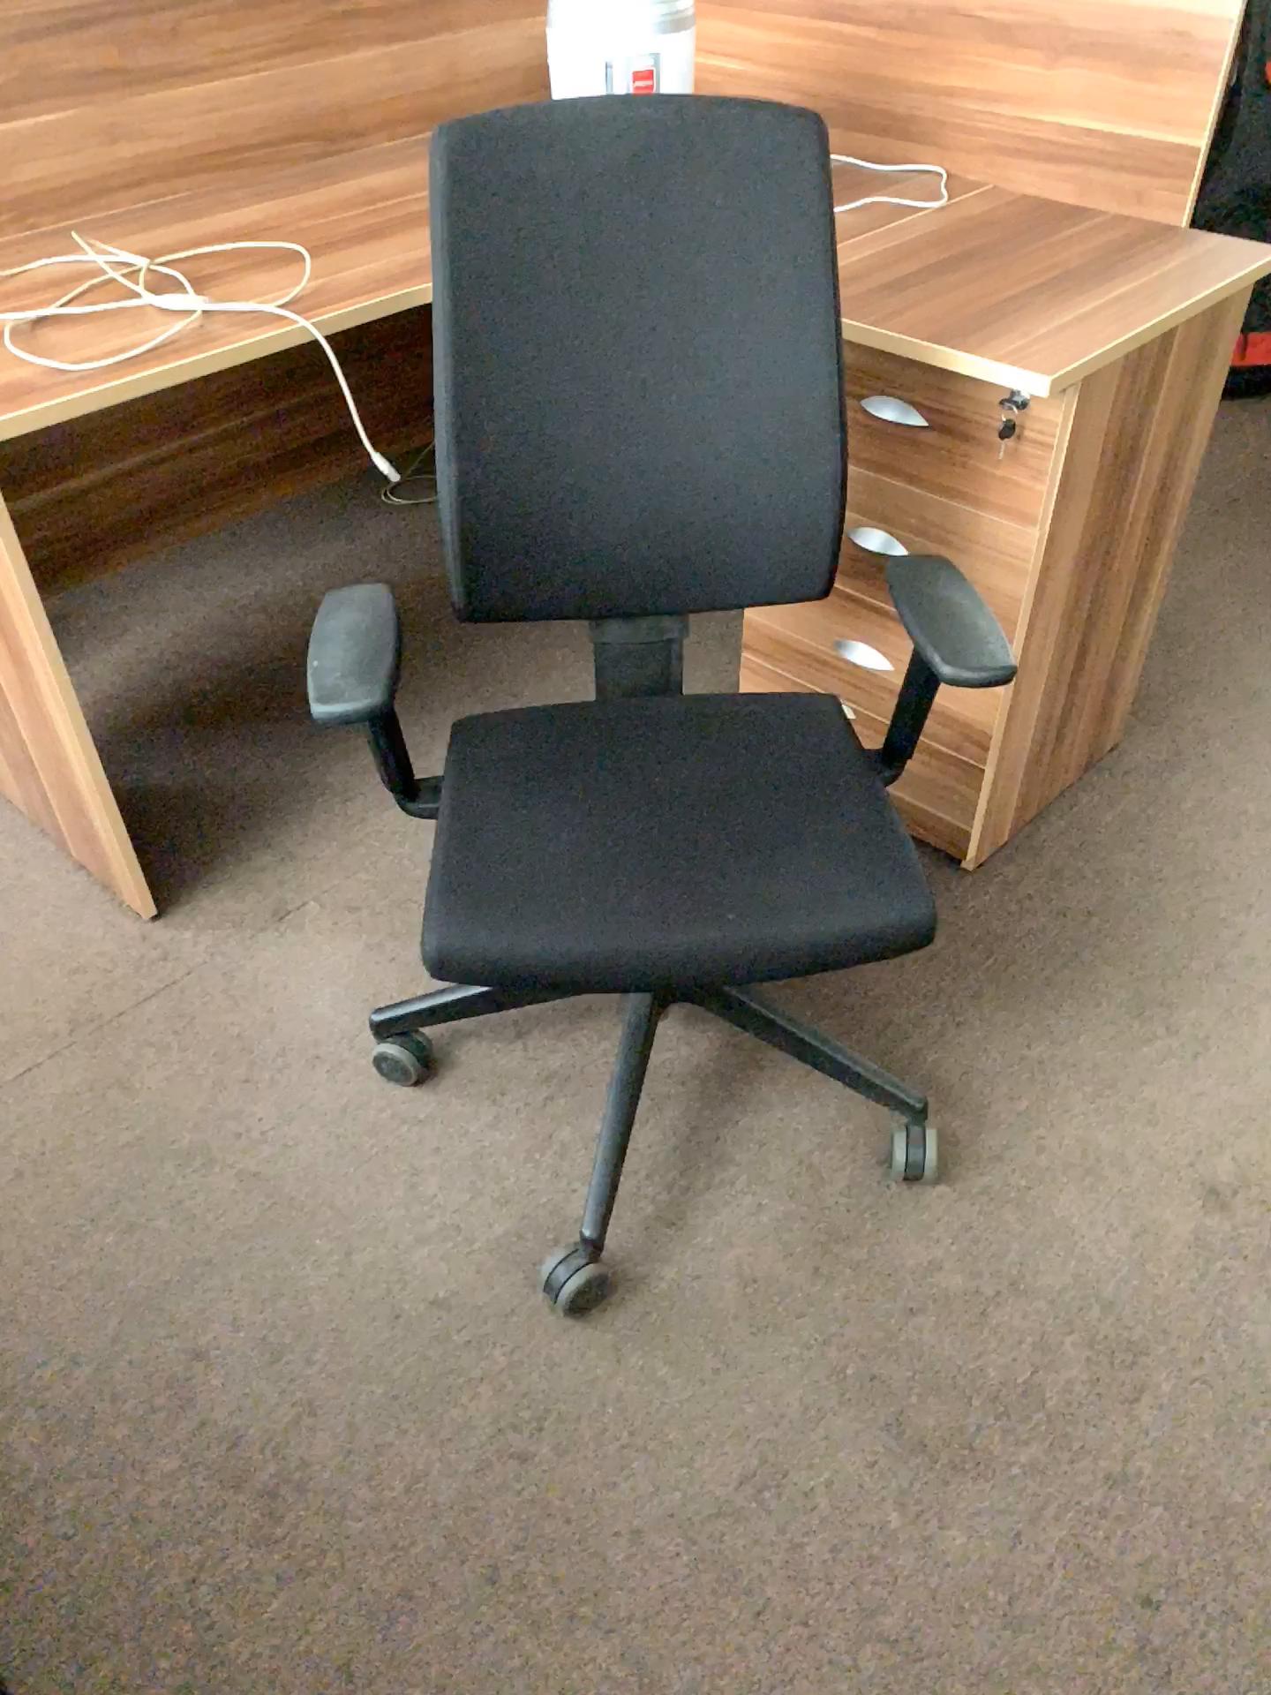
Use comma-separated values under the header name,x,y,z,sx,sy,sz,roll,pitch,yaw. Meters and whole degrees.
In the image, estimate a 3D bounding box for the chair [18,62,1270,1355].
name,x,y,z,sx,sy,sz,roll,pitch,yaw
chair,-0.001,-0.147,1.252,0.670,0.915,0.794,-4,41,-4
